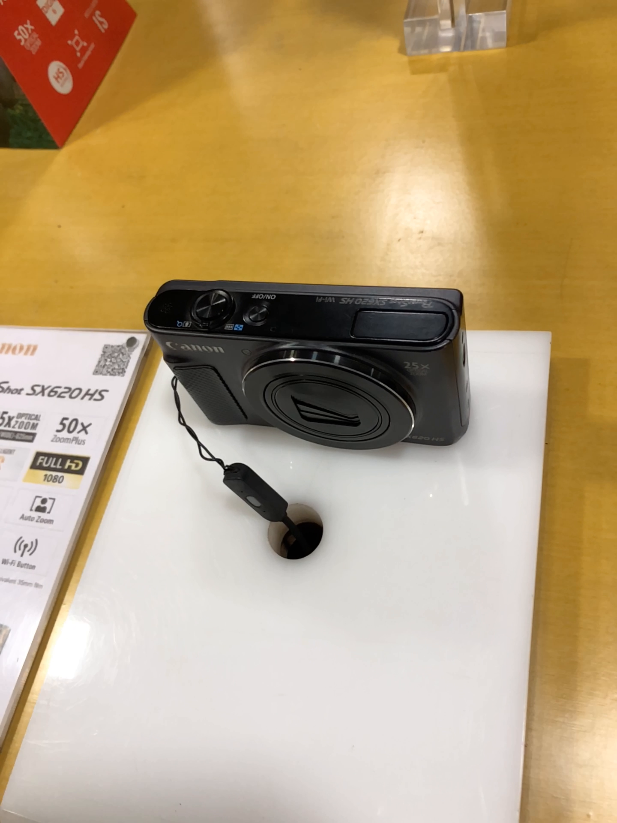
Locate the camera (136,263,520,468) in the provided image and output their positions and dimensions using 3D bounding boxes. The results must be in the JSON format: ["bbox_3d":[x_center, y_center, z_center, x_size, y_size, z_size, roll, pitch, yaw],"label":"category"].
[{"bbox_3d":[0.009,-0.015,0.226,0.110,0.060,0.030,7,63,19],"label":"camera"}]
